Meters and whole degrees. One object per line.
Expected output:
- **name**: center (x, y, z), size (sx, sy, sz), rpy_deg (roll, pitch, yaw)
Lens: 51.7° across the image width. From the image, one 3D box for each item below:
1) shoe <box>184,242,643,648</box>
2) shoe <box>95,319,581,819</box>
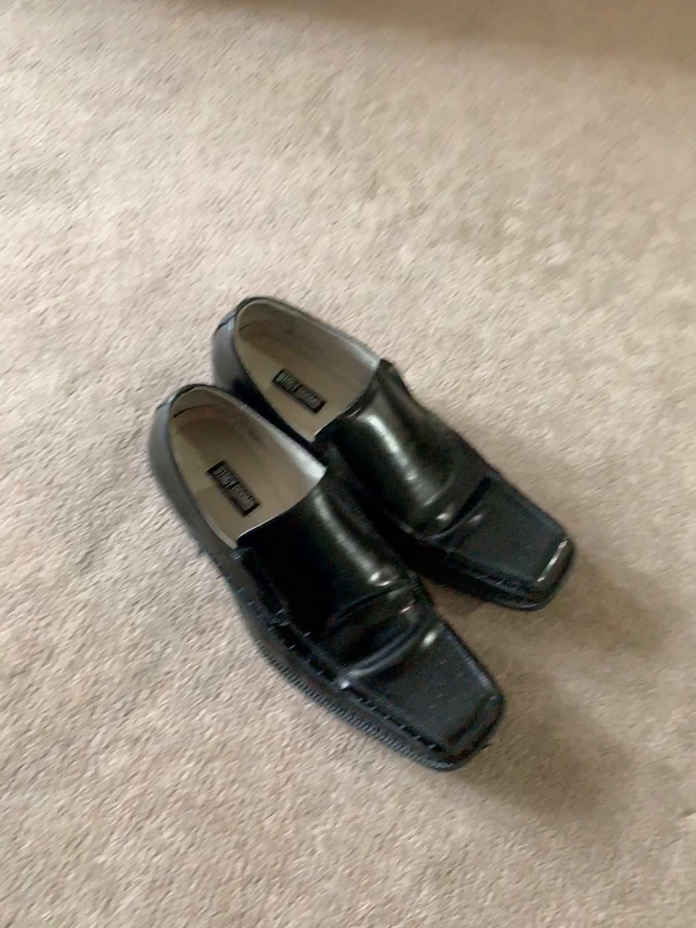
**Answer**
- **shoe**: center (0.036, -0.015, 0.544), size (0.310, 0.119, 0.110), rpy_deg (36, 67, 12)
- **shoe**: center (-0.019, 0.067, 0.490), size (0.110, 0.119, 0.321), rpy_deg (-38, 73, -20)
